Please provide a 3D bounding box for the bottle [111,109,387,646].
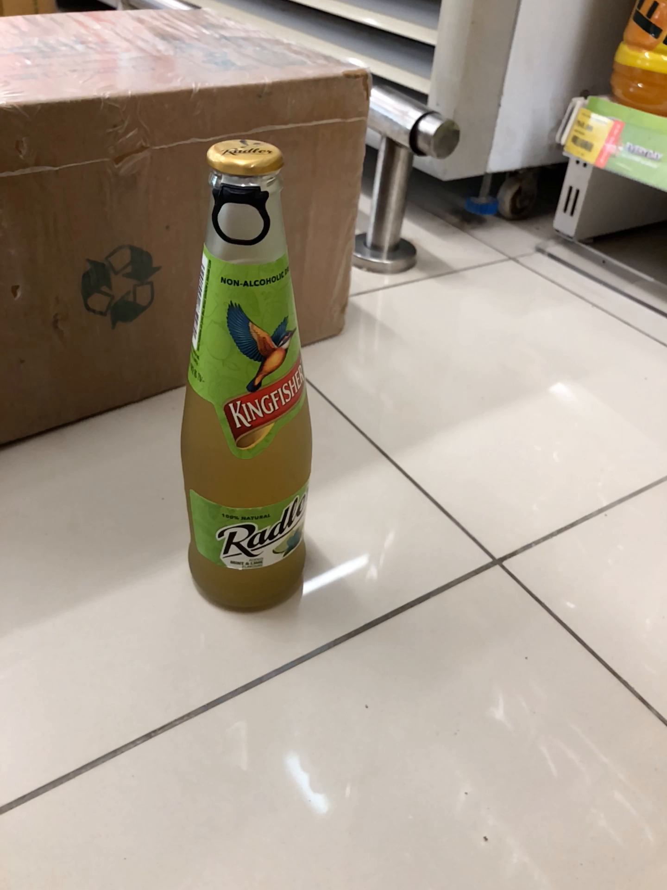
[{"bbox_3d":[-0.036,-0.018,0.309,0.070,0.209,0.060,-20,44,-29],"label":"bottle"}]
